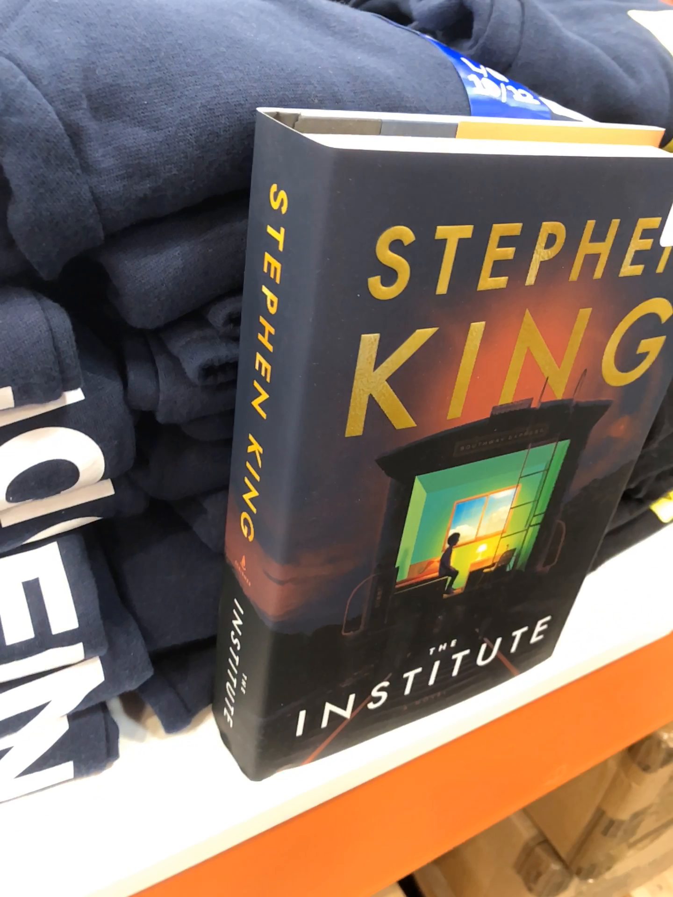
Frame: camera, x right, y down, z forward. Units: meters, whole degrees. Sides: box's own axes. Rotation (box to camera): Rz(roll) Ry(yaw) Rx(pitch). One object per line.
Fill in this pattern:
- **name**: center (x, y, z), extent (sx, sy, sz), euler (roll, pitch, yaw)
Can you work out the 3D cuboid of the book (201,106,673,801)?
- **book**: center (0.042, 0.006, 0.277), extent (0.167, 0.229, 0.050), euler (-12, 37, -29)
